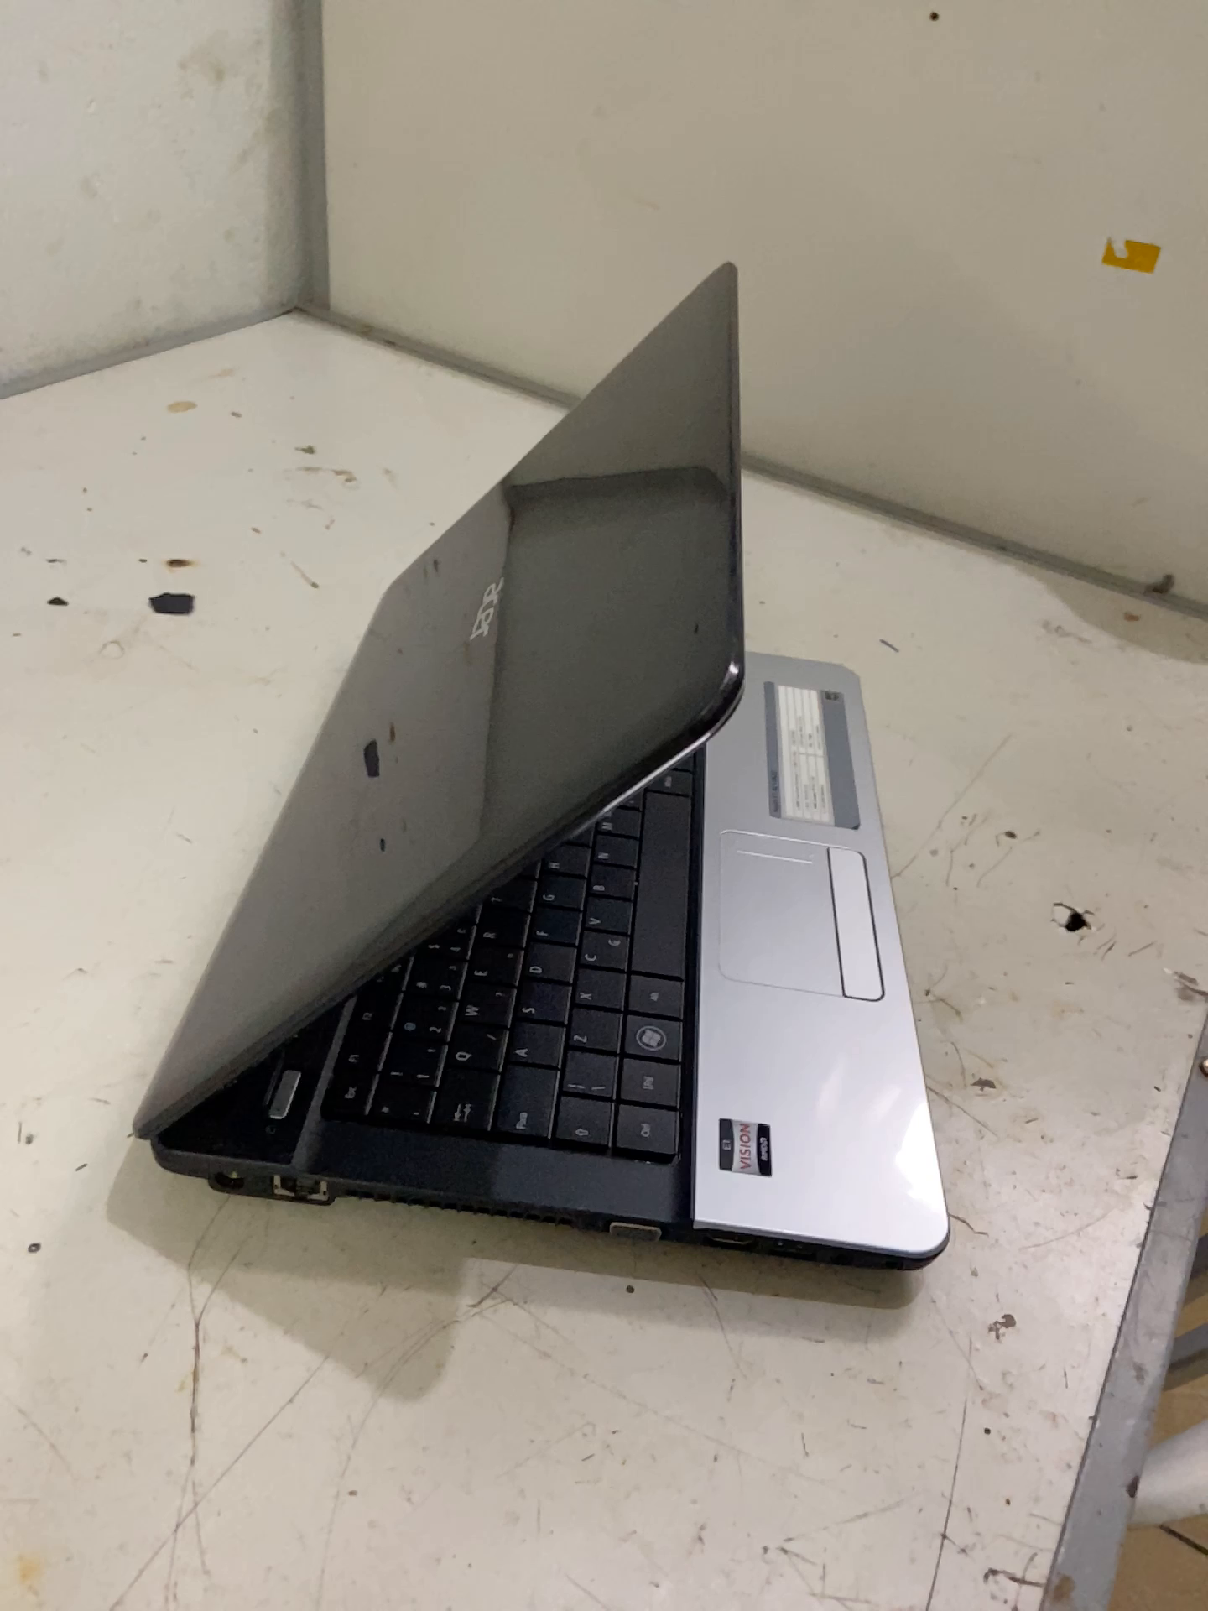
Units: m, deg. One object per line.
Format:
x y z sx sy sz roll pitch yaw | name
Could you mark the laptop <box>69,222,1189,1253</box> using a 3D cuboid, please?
0.008 -0.056 0.449 0.238 0.184 0.336 8 37 -1 | laptop
